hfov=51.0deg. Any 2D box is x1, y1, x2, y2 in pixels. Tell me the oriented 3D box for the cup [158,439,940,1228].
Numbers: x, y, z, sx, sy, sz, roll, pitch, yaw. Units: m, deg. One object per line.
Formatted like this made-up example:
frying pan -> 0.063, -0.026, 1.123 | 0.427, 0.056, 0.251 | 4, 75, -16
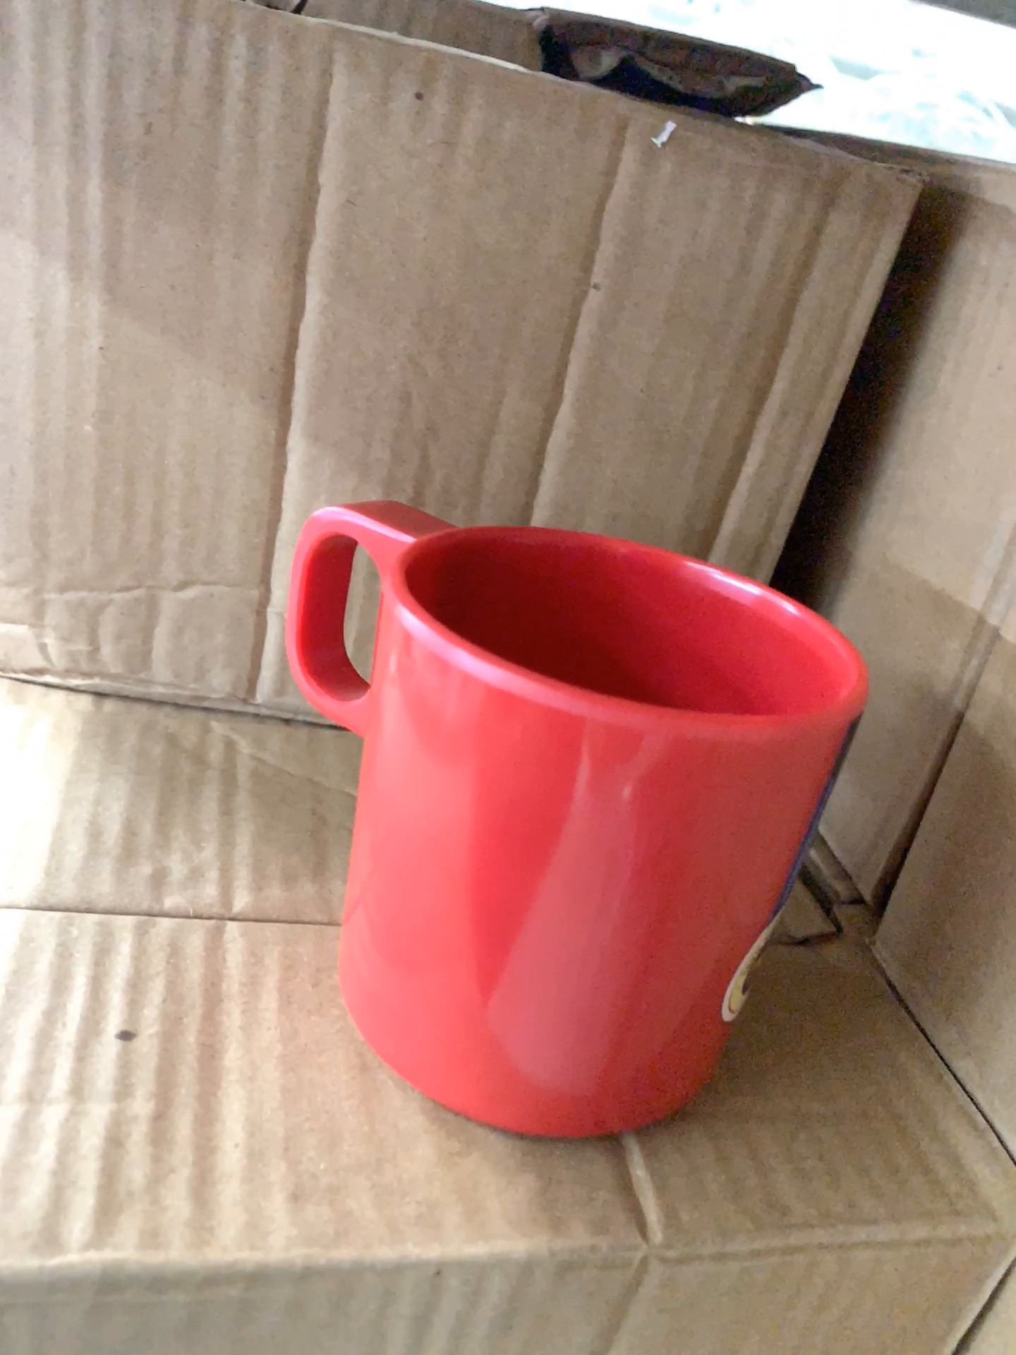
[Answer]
cup -> -0.001, 0.013, 0.180 | 0.104, 0.073, 0.065 | 31, 32, 35
